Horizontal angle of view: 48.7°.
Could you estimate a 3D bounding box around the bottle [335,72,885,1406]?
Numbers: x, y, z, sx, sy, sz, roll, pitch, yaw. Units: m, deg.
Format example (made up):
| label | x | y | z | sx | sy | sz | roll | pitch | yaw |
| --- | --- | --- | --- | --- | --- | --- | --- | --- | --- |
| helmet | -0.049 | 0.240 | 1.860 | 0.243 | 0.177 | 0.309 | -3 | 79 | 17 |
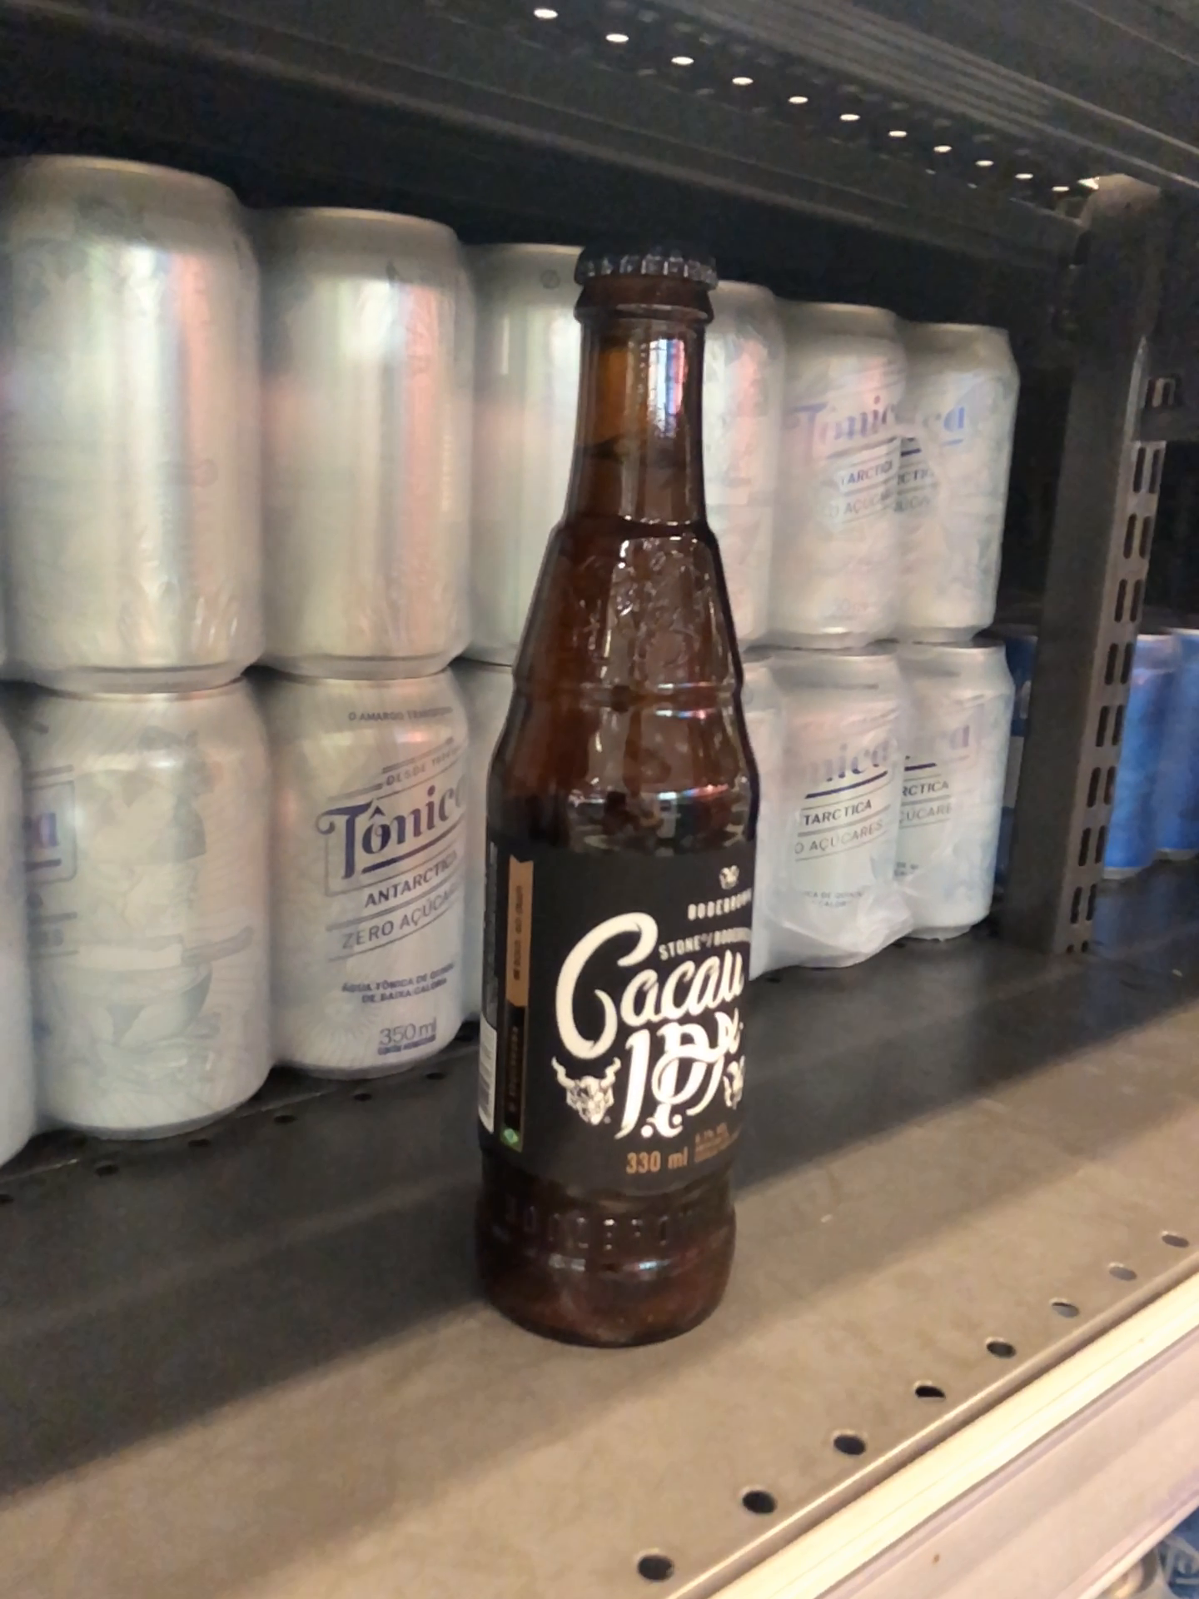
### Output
| label | x | y | z | sx | sy | sz | roll | pitch | yaw |
| --- | --- | --- | --- | --- | --- | --- | --- | --- | --- |
| bottle | -0.006 | -0.008 | 0.290 | 0.080 | 0.249 | 0.070 | -5 | 17 | -30 |
